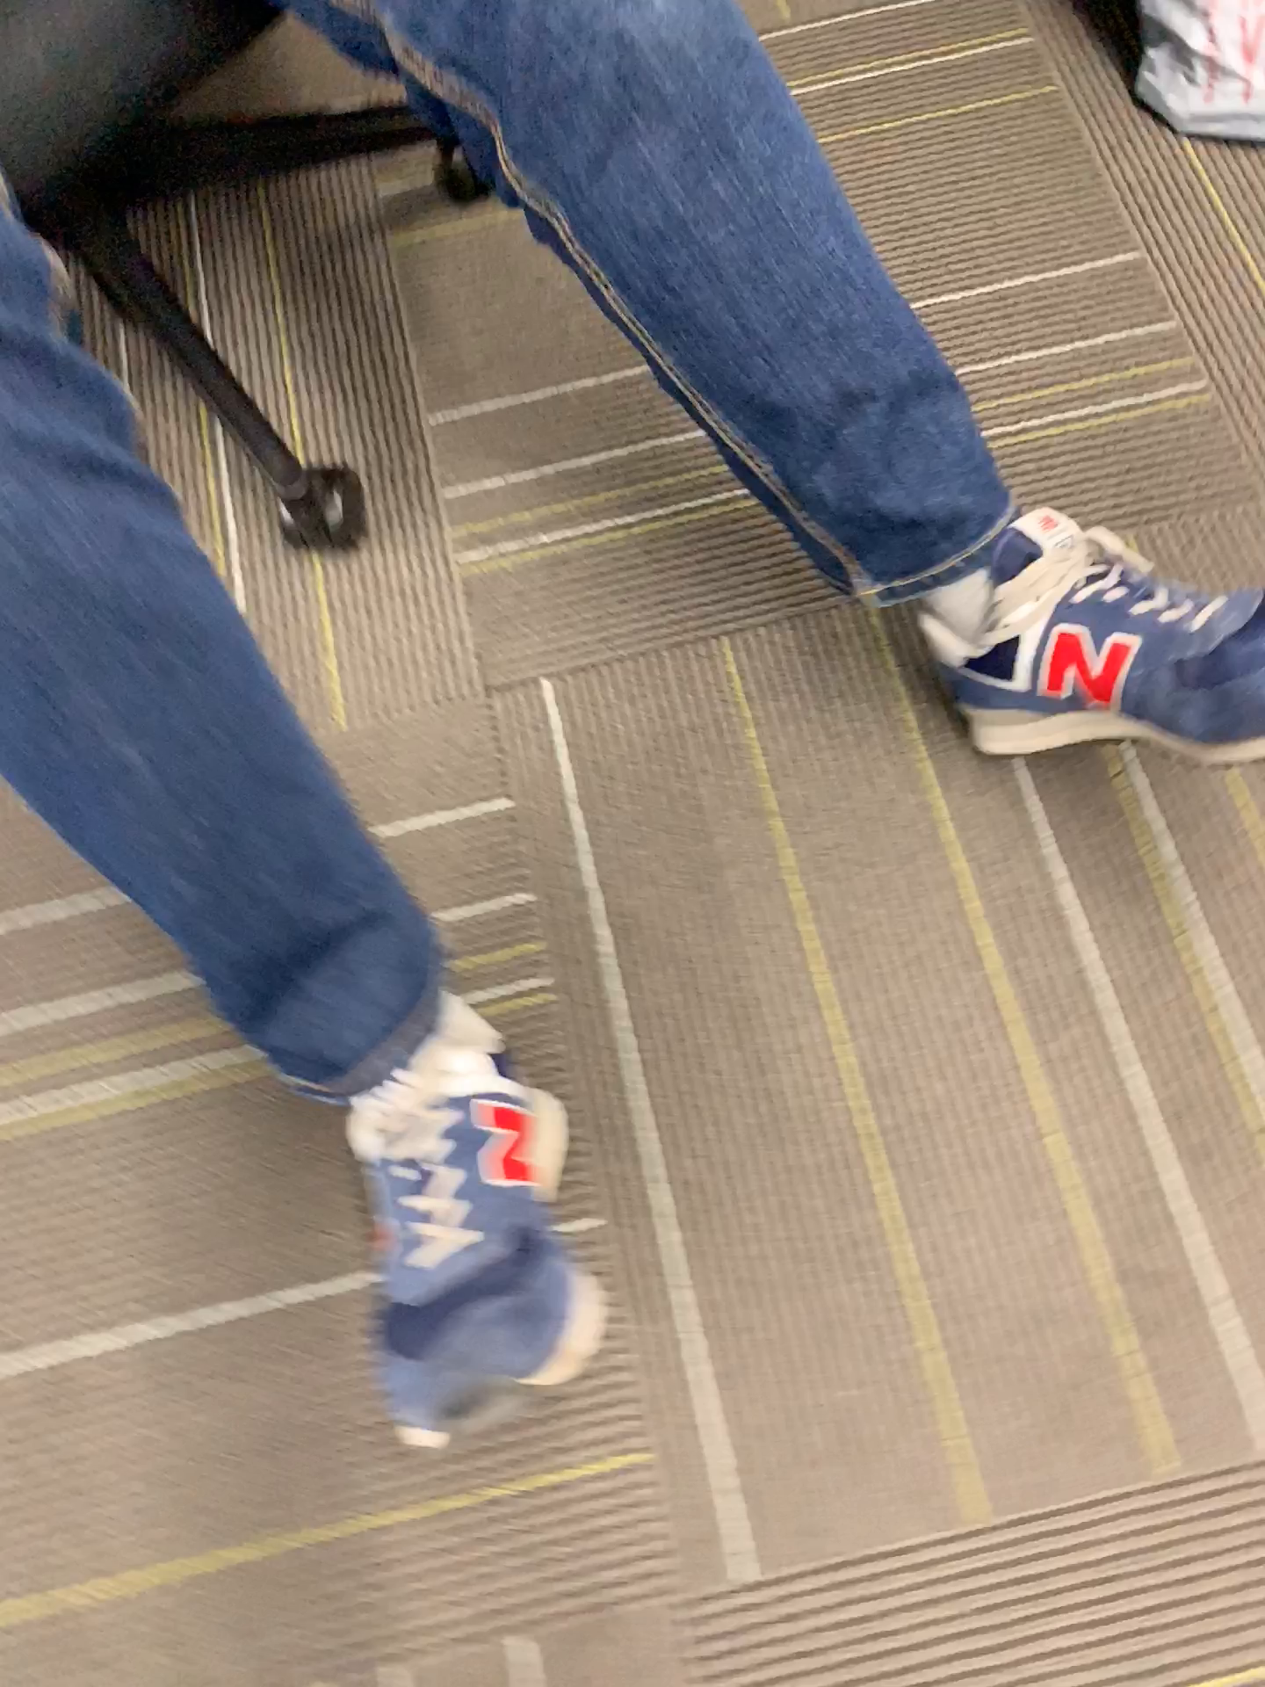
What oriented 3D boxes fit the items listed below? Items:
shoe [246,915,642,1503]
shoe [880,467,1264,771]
[{"bbox_3d":[-0.102,0.179,0.724,0.120,0.297,0.135,-34,110,4],"label":"shoe"},{"bbox_3d":[0.301,-0.125,0.774,0.114,0.303,0.095,-49,113,-13],"label":"shoe"}]
